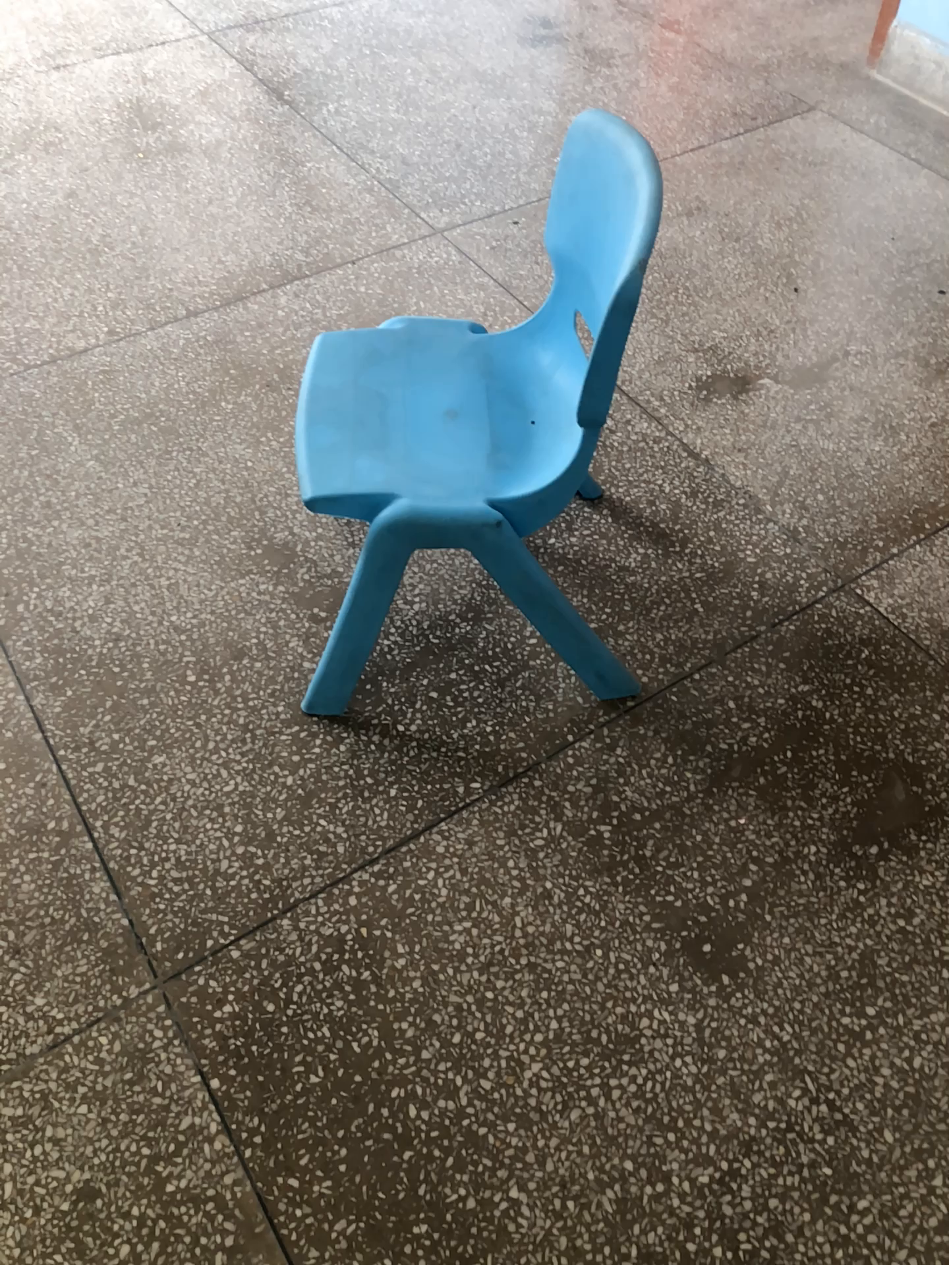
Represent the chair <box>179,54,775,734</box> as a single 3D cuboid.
[{"bbox_3d":[-0.009,-0.207,0.997,0.390,0.499,0.381,-1,50,-2],"label":"chair"}]
